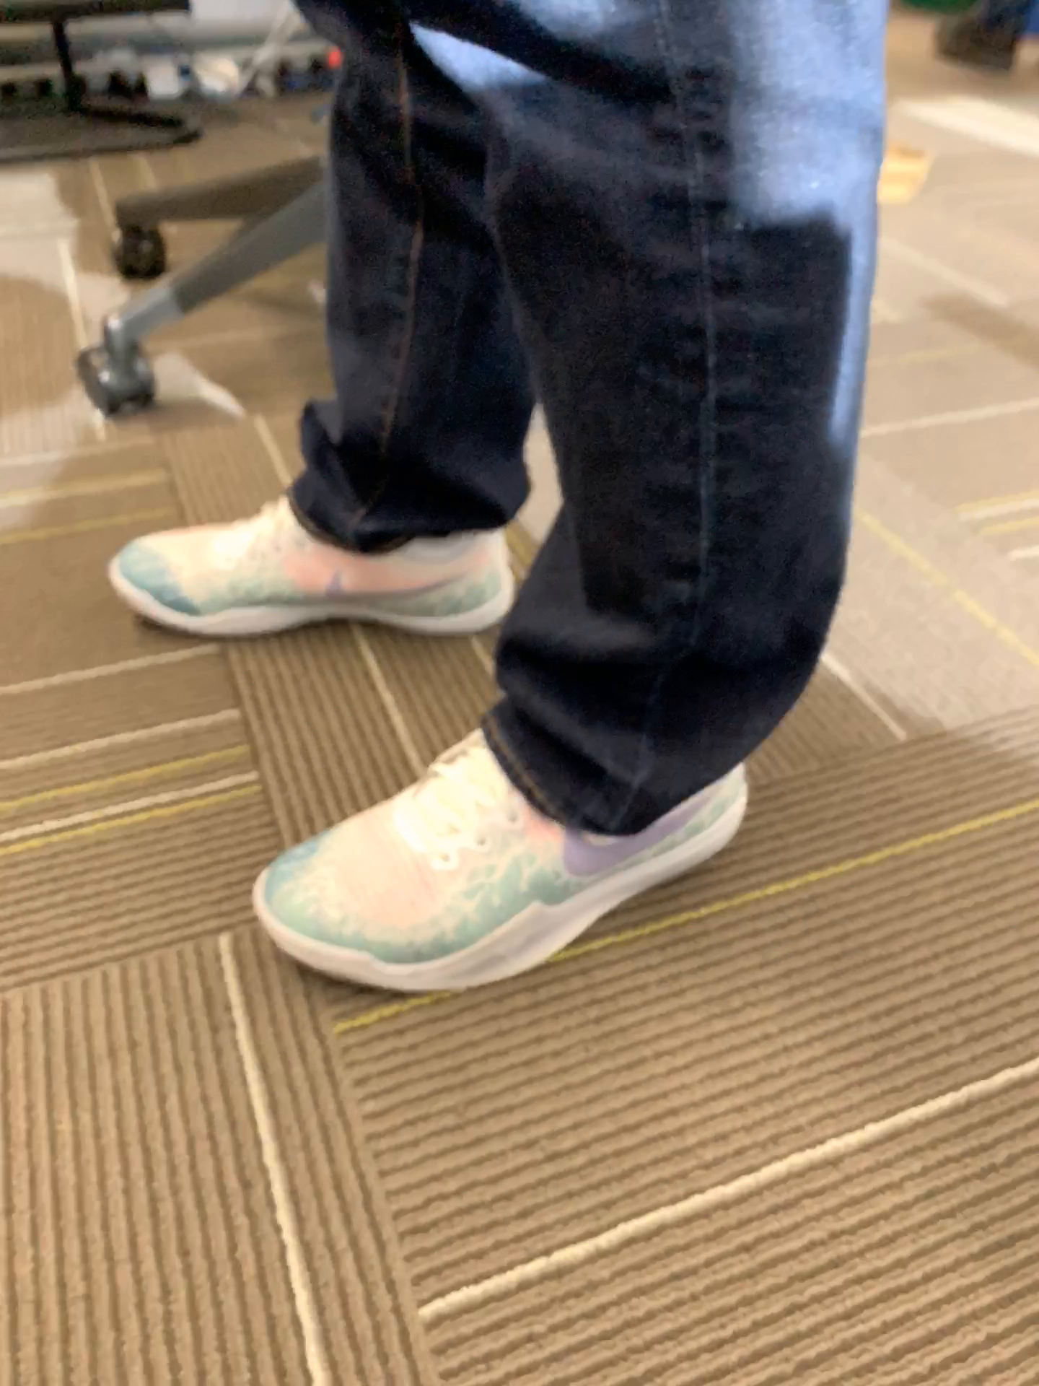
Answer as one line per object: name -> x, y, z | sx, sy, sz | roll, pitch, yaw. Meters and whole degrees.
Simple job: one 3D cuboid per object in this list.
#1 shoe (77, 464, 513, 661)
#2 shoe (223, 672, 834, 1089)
shoe -> -0.147, -0.096, 0.783 | 0.283, 0.088, 0.118 | 1, 39, 1
shoe -> 0.005, 0.088, 0.583 | 0.289, 0.078, 0.123 | -15, 41, -17
